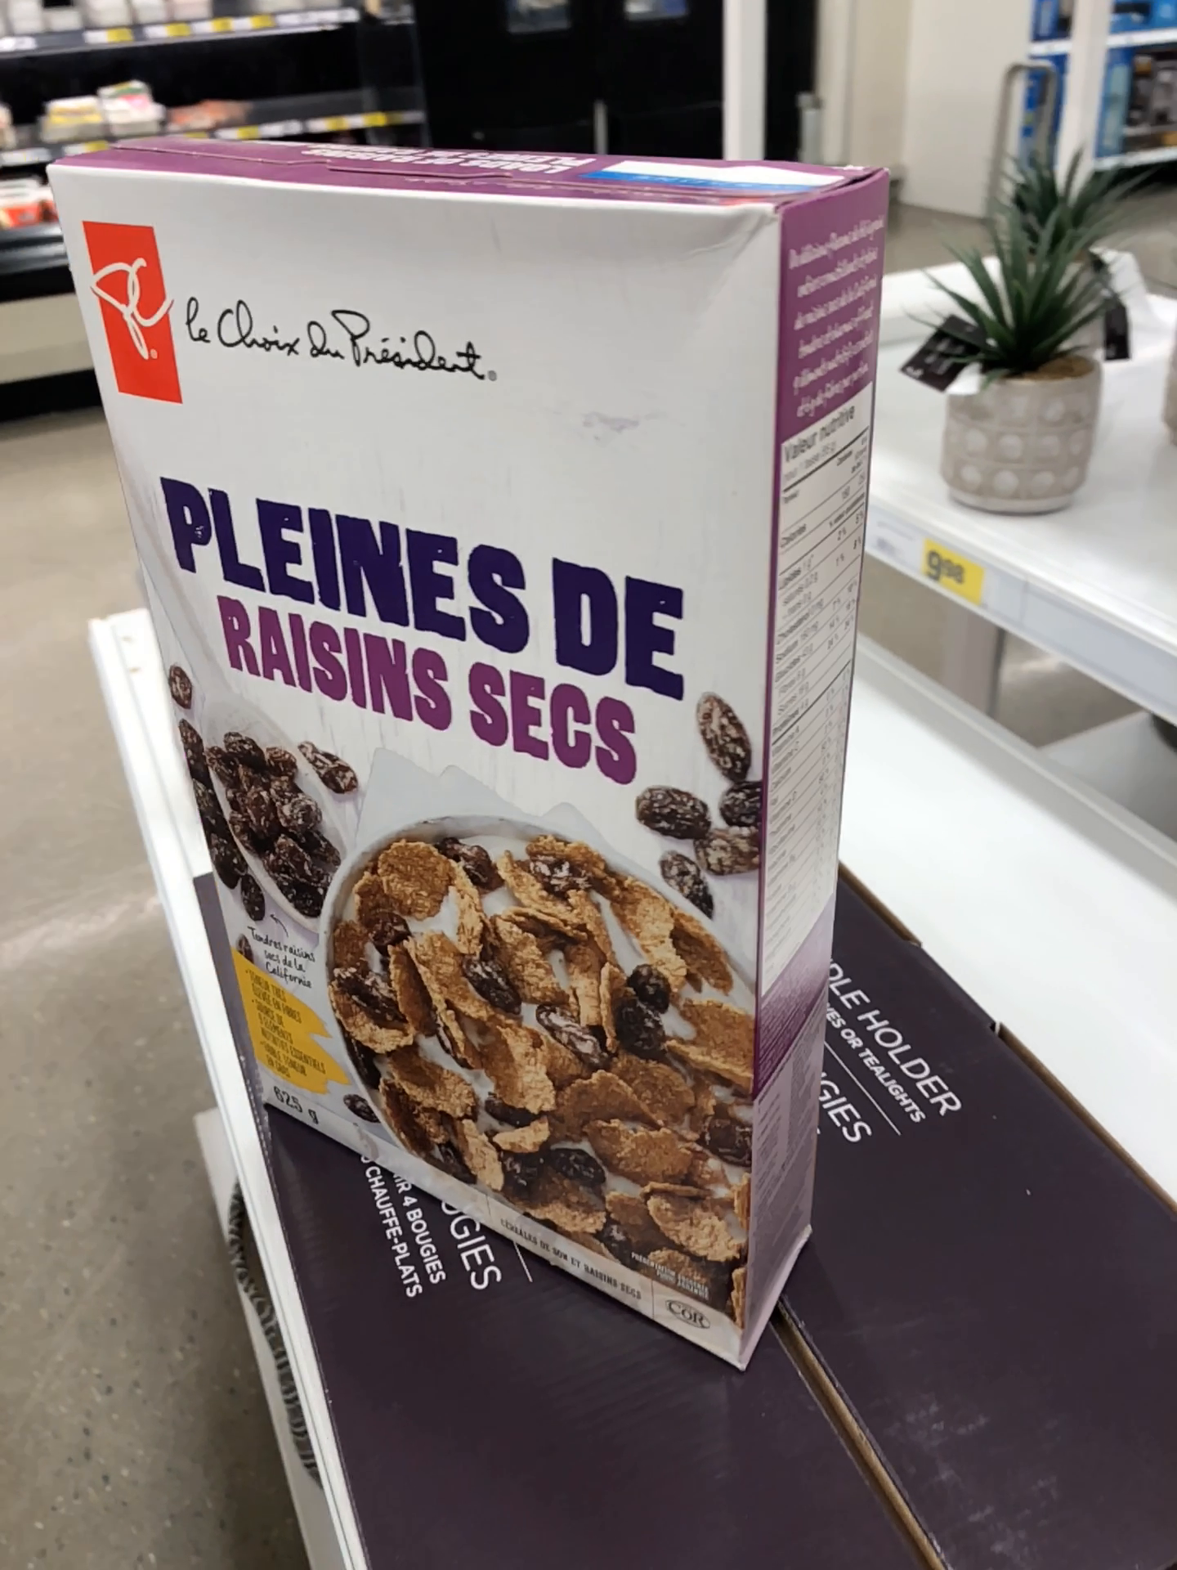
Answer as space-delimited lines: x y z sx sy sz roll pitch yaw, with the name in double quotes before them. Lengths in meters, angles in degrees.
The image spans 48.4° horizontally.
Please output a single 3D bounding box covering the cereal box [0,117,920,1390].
"cereal box" -0.032 -0.004 0.345 0.200 0.299 0.060 19 39 31
